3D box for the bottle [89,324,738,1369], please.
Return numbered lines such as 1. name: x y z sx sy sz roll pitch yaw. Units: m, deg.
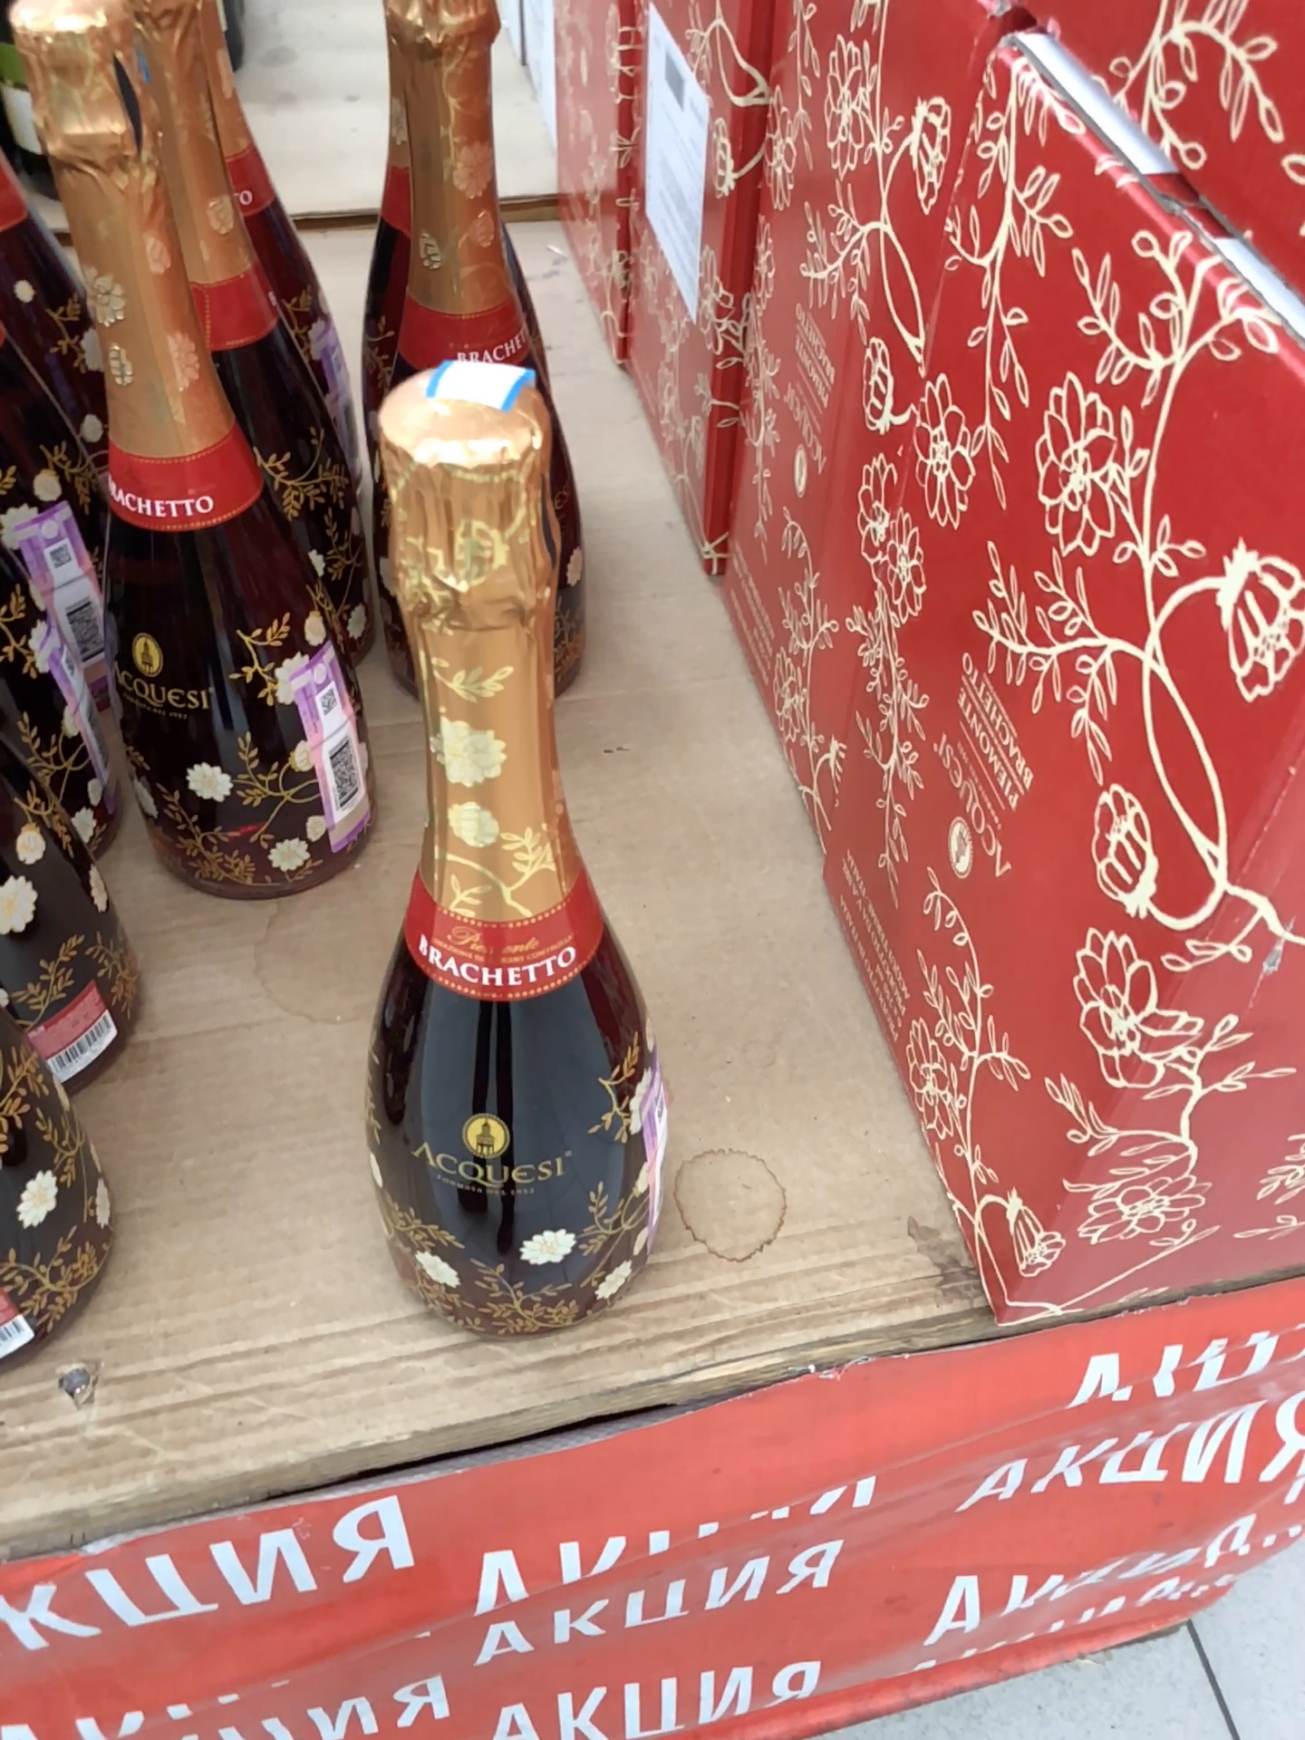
1. bottle: -0.042 0.019 0.372 0.100 0.279 0.101 1 49 -1
